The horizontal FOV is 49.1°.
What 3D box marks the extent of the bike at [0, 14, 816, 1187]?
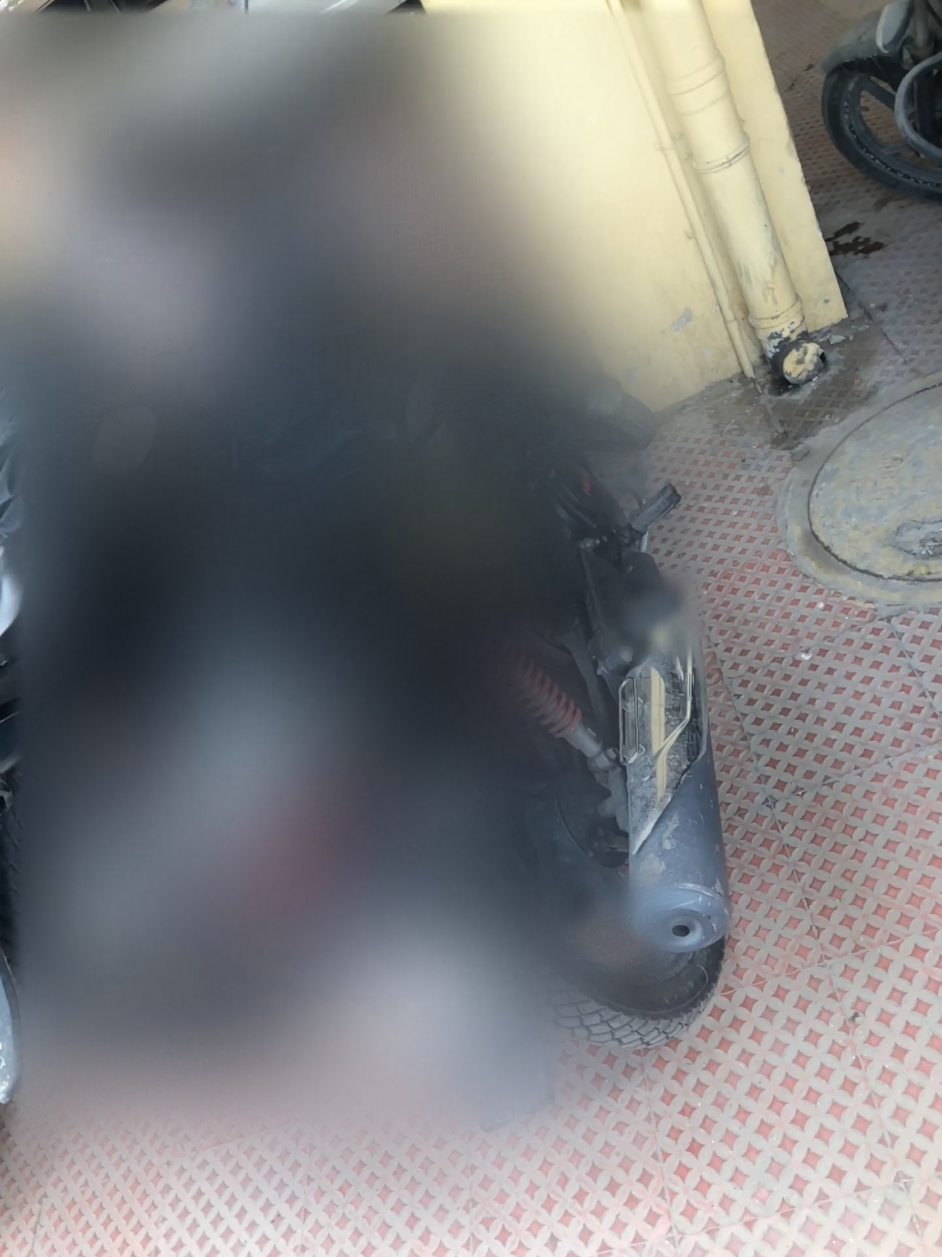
[{"bbox_3d":[-0.233,-0.203,1.834,0.731,1.125,1.768,-26,36,14],"label":"bike"}]
